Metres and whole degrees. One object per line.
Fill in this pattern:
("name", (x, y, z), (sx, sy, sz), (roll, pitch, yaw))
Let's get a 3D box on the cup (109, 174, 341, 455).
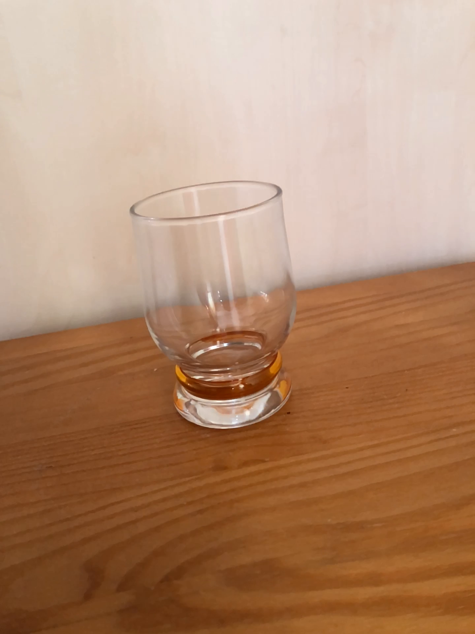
("cup", (-0.005, -0.008, 0.254), (0.074, 0.099, 0.076), (-5, 24, 2))
